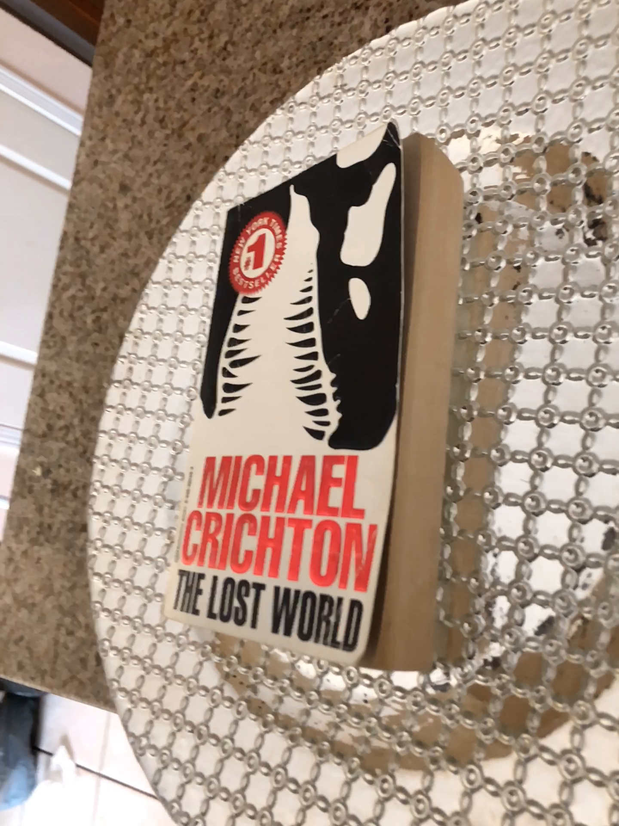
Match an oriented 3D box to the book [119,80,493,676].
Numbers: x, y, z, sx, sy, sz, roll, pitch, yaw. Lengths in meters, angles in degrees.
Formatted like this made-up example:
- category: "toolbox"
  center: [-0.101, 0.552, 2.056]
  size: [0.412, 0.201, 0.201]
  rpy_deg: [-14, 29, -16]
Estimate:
- category: "book"
  center: [-0.003, -0.011, 0.256]
  size: [0.119, 0.040, 0.182]
  rpy_deg: [-3, 73, 42]
